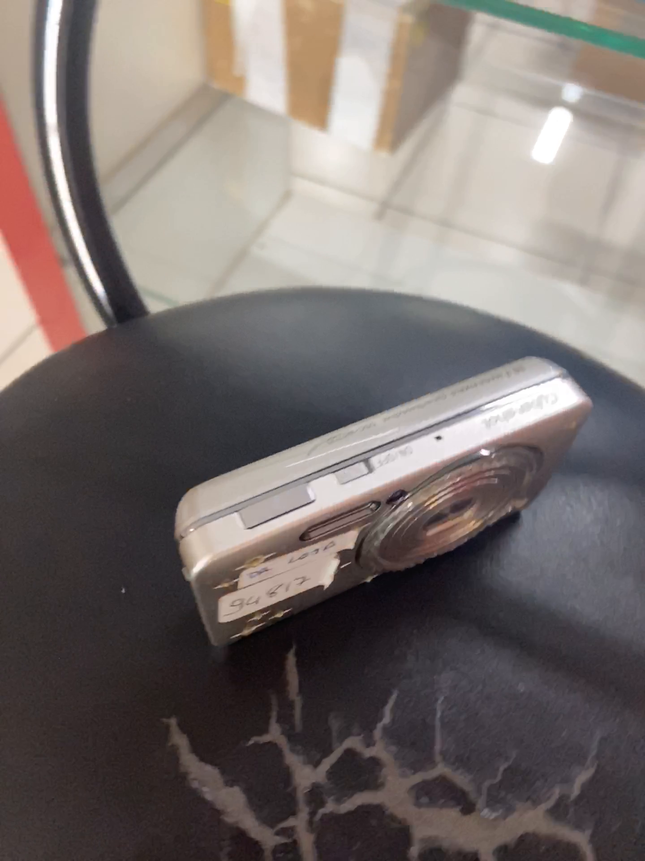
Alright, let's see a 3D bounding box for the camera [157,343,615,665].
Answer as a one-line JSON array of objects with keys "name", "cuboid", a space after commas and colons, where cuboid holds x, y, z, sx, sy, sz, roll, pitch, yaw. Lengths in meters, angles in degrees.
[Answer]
[{"name": "camera", "cuboid": [0.014, 0.016, 0.152, 0.092, 0.042, 0.022, -21, 60, -17]}]
